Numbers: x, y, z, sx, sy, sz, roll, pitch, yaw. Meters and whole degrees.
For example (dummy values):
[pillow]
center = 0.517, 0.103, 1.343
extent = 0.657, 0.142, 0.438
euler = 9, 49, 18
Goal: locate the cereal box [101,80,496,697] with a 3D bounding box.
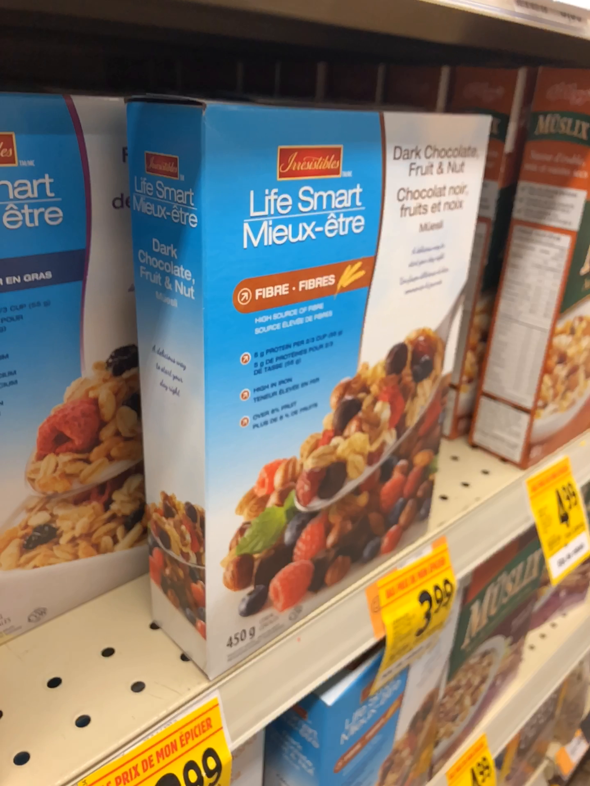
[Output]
[cereal box]
center = 0.007, -0.009, 0.308
extent = 0.171, 0.238, 0.050
euler = -19, 33, -41
